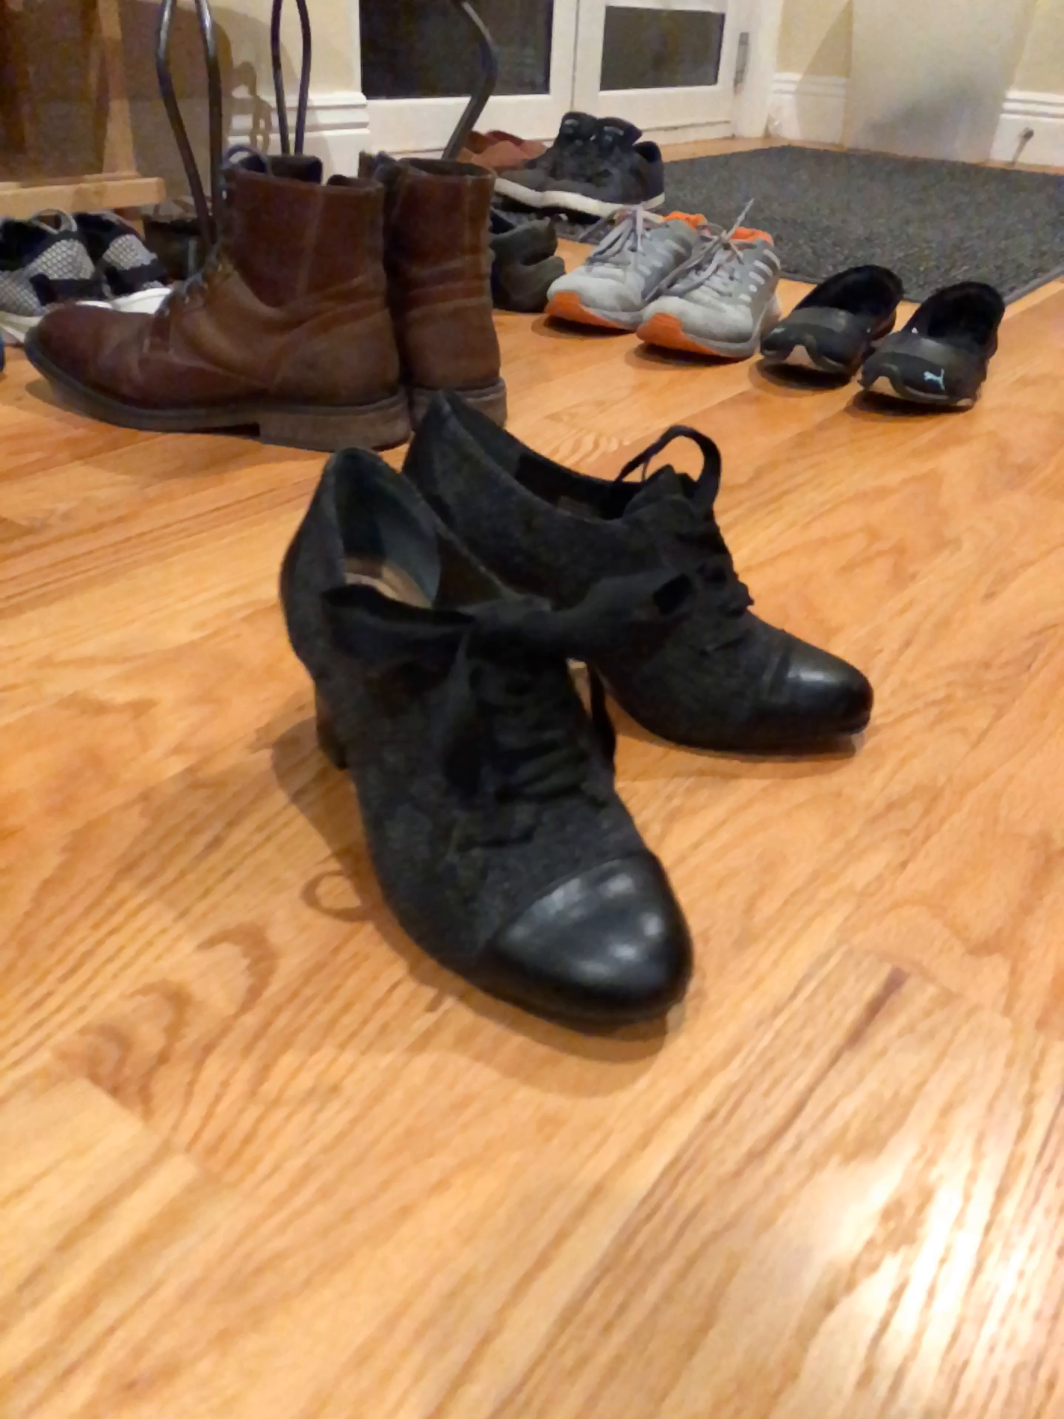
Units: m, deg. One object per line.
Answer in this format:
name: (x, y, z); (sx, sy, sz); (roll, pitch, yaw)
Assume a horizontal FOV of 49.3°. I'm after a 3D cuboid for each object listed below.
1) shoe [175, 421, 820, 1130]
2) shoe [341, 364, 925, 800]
shoe: (-0.029, 0.001, 0.392); (0.093, 0.125, 0.224); (-17, 36, -31)
shoe: (0.039, -0.062, 0.504); (0.223, 0.125, 0.088); (13, 32, 16)
